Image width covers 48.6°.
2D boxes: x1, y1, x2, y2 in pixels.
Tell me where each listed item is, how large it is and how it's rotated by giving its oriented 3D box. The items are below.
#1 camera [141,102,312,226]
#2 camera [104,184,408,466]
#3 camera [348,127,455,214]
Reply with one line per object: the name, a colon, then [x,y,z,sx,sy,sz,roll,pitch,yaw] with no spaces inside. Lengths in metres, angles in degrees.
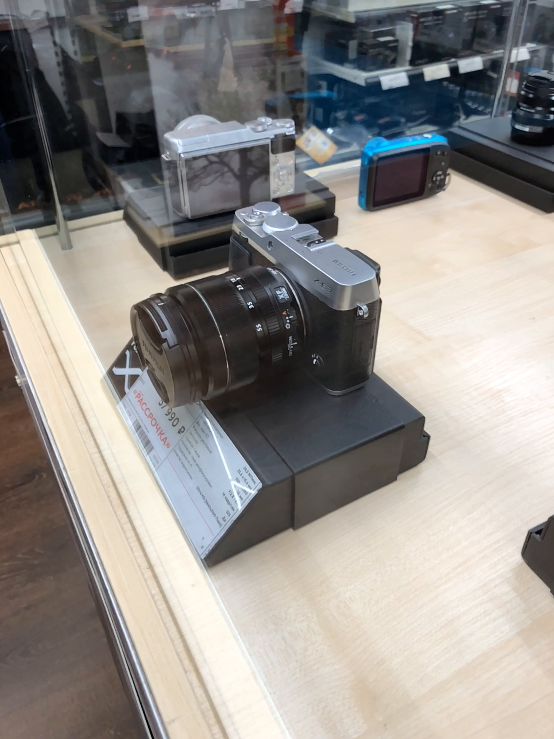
camera: [-0.045,-0.193,0.566,0.132,0.068,0.077,-19,42,-23]
camera: [-0.017,-0.035,0.353,0.116,0.080,0.132,-19,42,-23]
camera: [0.130,-0.211,0.649,0.101,0.064,0.036,-17,43,-20]
